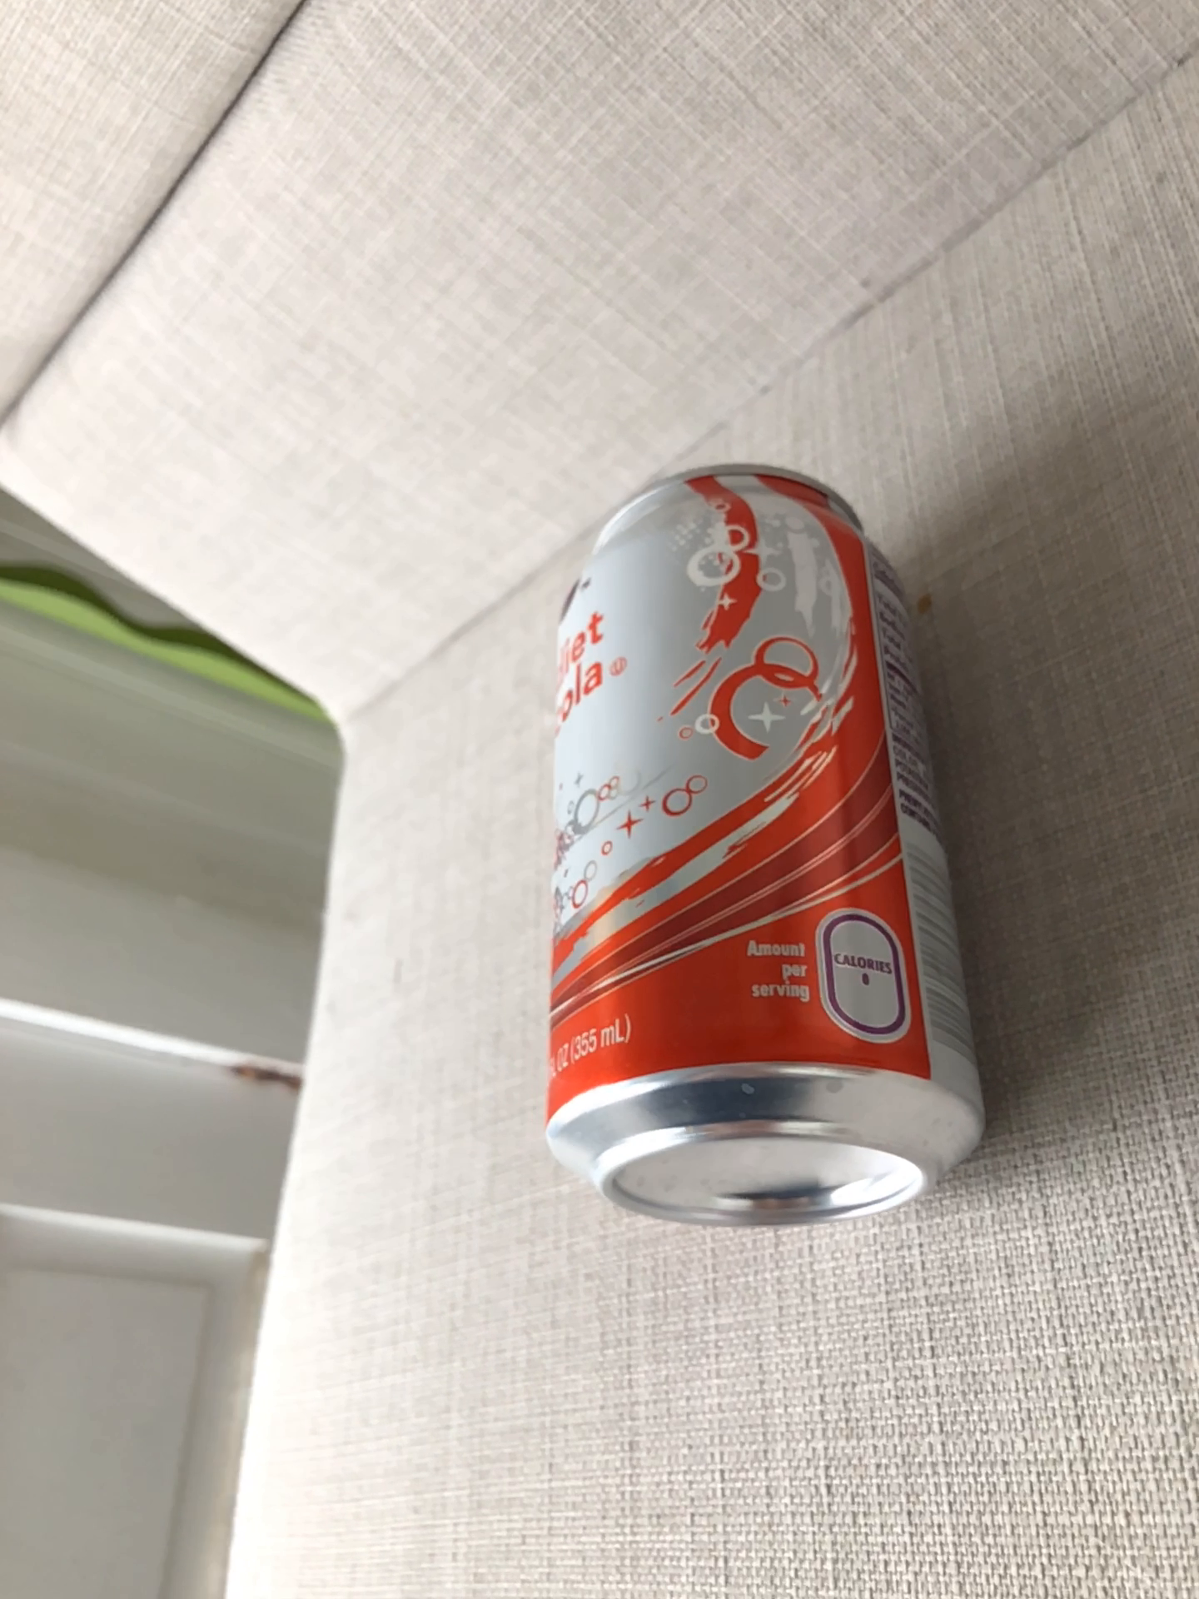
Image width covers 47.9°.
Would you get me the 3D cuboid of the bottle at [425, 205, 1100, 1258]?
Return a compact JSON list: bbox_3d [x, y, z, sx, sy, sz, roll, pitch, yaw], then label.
[{"bbox_3d":[0.019,-0.010,0.225,0.070,0.062,0.150,-30,50,39],"label":"bottle"}]
